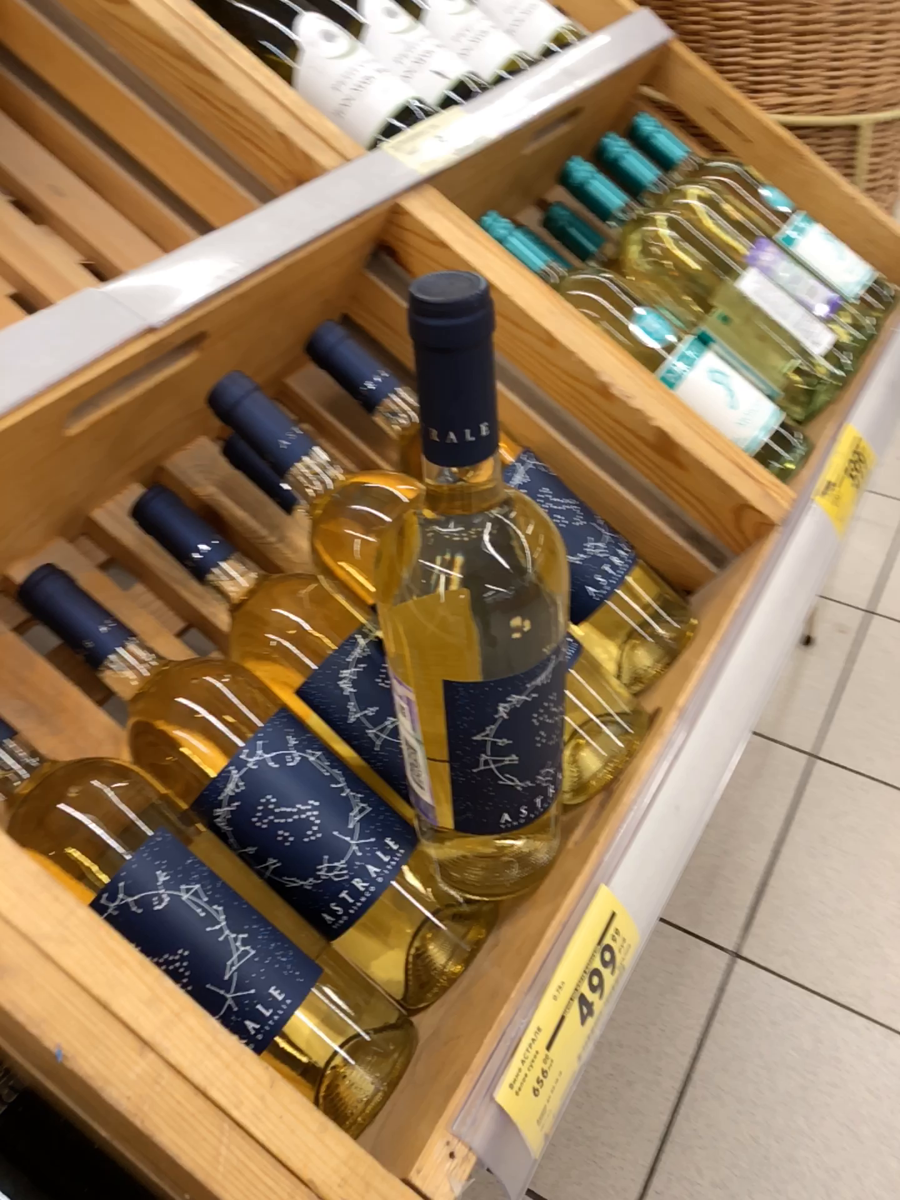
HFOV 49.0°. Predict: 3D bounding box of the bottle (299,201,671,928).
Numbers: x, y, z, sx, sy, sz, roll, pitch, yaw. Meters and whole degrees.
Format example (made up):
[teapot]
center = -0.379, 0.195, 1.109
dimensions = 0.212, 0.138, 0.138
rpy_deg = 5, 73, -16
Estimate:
[bottle]
center = 0.019, 0.000, 0.402
dimensions = 0.080, 0.278, 0.090
rpy_deg = 25, 47, 31
